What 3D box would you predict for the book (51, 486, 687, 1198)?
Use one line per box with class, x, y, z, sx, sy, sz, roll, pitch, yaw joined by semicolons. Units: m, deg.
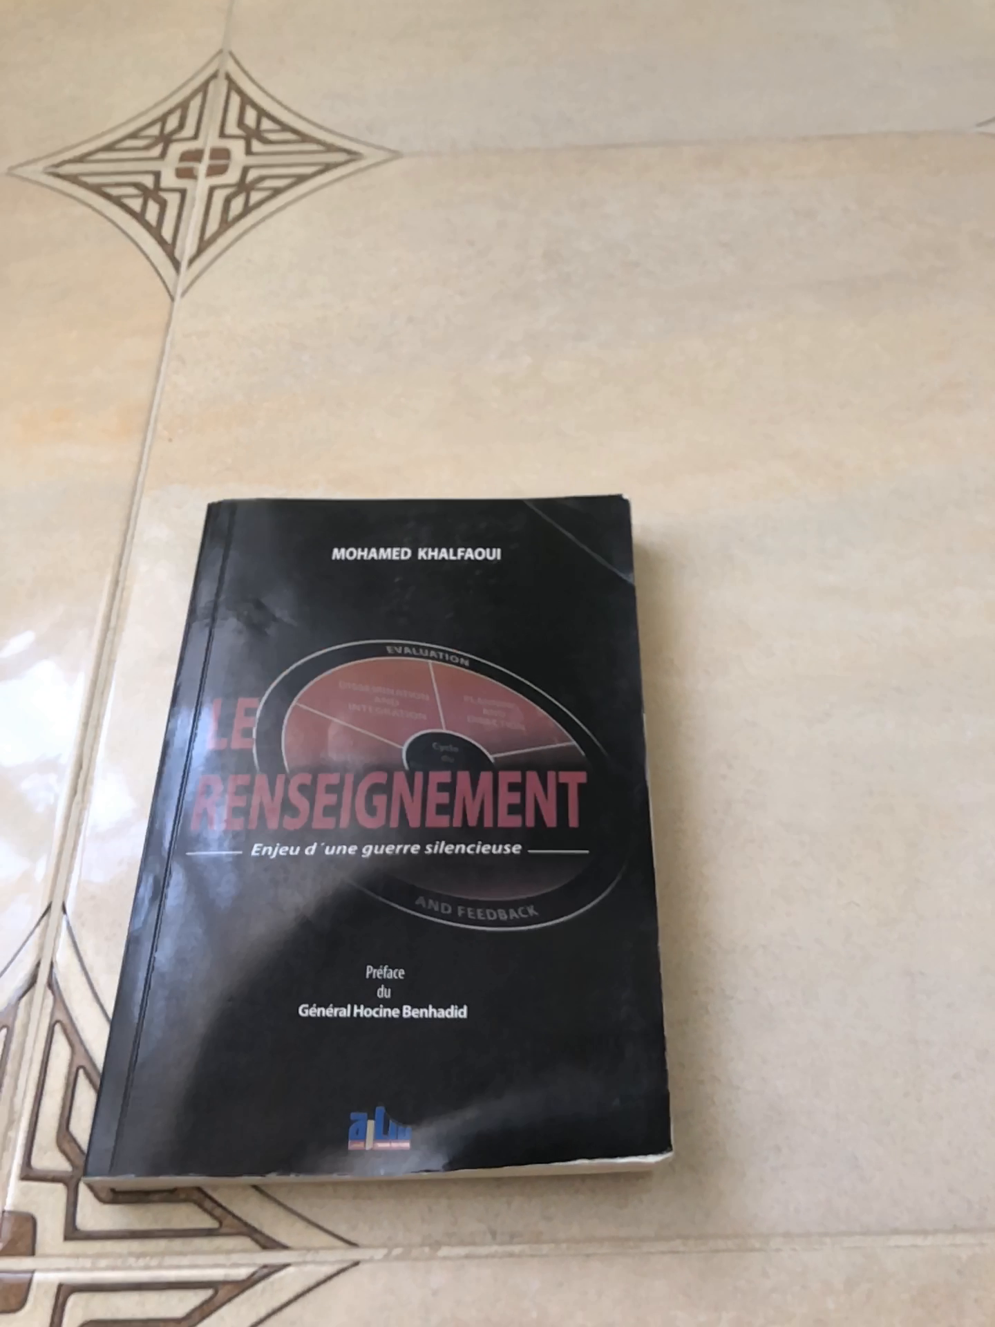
book;-0.031;0.040;0.320;0.146;0.037;0.201;-1;60;-1
